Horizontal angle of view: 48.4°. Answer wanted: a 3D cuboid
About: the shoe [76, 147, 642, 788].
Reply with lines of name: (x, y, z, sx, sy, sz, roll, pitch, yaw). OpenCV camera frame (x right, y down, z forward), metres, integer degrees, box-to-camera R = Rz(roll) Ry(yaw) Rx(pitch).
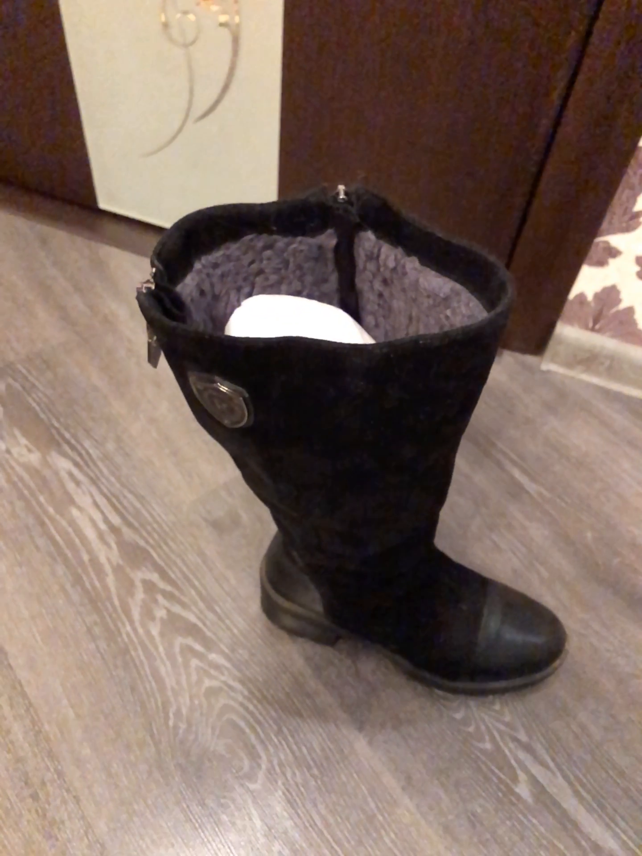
shoe: (0.056, 0.062, 0.412, 0.290, 0.358, 0.121, 13, 51, 5)
